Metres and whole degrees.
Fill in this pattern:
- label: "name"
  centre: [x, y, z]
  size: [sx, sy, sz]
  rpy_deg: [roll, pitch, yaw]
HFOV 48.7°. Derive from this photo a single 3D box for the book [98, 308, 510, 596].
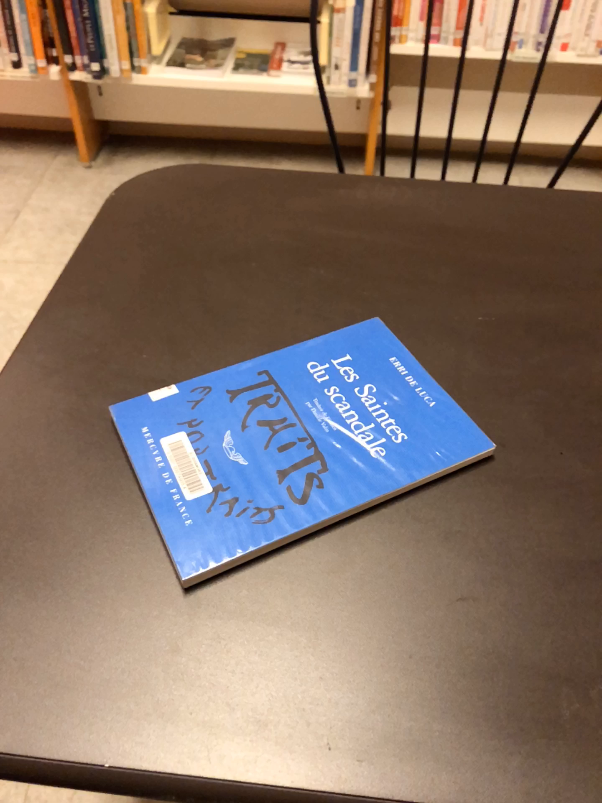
- label: "book"
  centre: [0.000, 0.016, 0.421]
  size: [0.215, 0.017, 0.144]
  rpy_deg: [-19, 49, -20]
